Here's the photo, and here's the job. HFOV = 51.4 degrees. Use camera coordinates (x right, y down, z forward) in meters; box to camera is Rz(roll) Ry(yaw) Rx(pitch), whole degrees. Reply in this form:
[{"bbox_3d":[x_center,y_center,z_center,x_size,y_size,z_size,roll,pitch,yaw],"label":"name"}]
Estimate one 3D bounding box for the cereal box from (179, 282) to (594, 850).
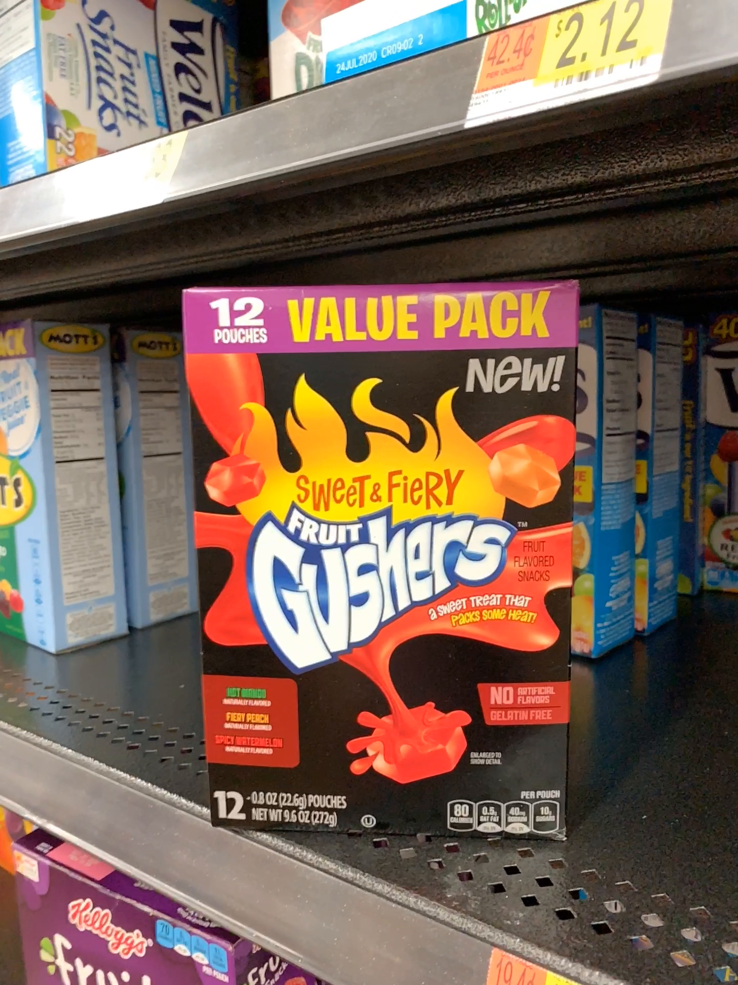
[{"bbox_3d":[0.010,0.030,0.320,0.150,0.219,0.050,0,10,6],"label":"cereal box"}]
